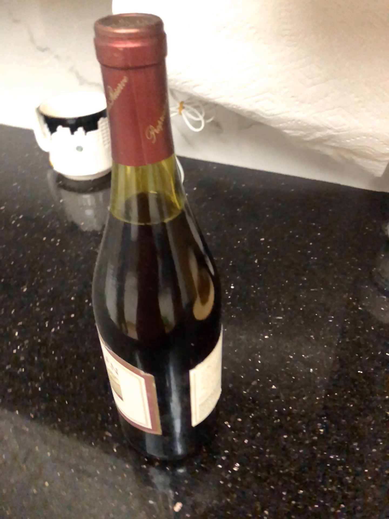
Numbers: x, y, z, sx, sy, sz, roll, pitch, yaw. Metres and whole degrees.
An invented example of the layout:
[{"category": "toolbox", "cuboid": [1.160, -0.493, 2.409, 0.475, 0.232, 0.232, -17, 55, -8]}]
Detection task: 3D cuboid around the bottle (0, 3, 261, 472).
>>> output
[{"category": "bottle", "cuboid": [-0.019, 0.018, 0.265, 0.090, 0.288, 0.091, -1, 40, 1]}]
